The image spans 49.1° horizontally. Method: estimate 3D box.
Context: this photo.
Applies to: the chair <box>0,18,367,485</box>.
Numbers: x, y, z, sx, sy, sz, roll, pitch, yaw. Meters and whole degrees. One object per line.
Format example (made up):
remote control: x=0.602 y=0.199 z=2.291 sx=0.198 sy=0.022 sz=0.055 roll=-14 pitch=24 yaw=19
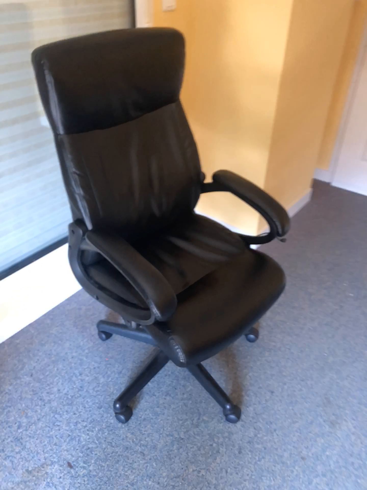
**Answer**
chair: x=-0.034 y=-0.025 z=1.288 sx=0.751 sy=1.113 sz=0.664 roll=28 pitch=43 yaw=31
